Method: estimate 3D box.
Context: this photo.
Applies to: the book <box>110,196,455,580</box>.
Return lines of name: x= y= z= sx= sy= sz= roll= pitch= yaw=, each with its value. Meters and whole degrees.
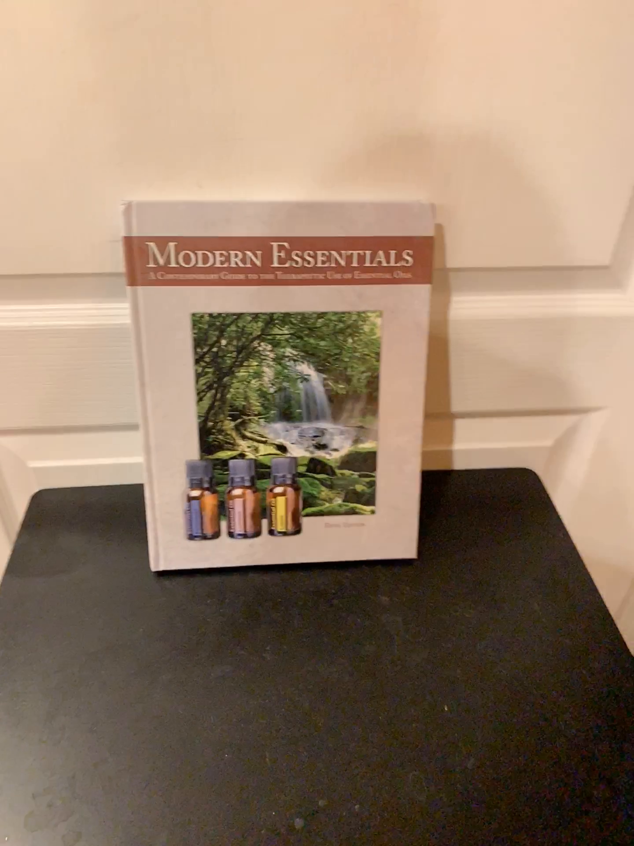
book: x=-0.022 y=-0.020 z=0.497 sx=0.230 sy=0.289 sz=0.030 roll=-2 pitch=19 yaw=-5
